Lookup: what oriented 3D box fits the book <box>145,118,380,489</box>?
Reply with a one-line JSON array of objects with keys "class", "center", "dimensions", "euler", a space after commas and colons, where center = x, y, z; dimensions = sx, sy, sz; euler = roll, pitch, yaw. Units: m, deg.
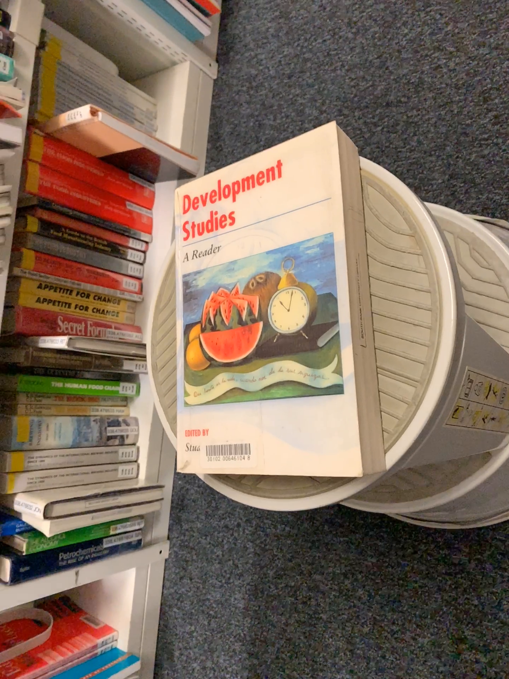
[{"class": "book", "center": [-0.005, -0.015, 0.371], "dimensions": [0.160, 0.045, 0.225], "euler": [-9, 78, 35]}]
